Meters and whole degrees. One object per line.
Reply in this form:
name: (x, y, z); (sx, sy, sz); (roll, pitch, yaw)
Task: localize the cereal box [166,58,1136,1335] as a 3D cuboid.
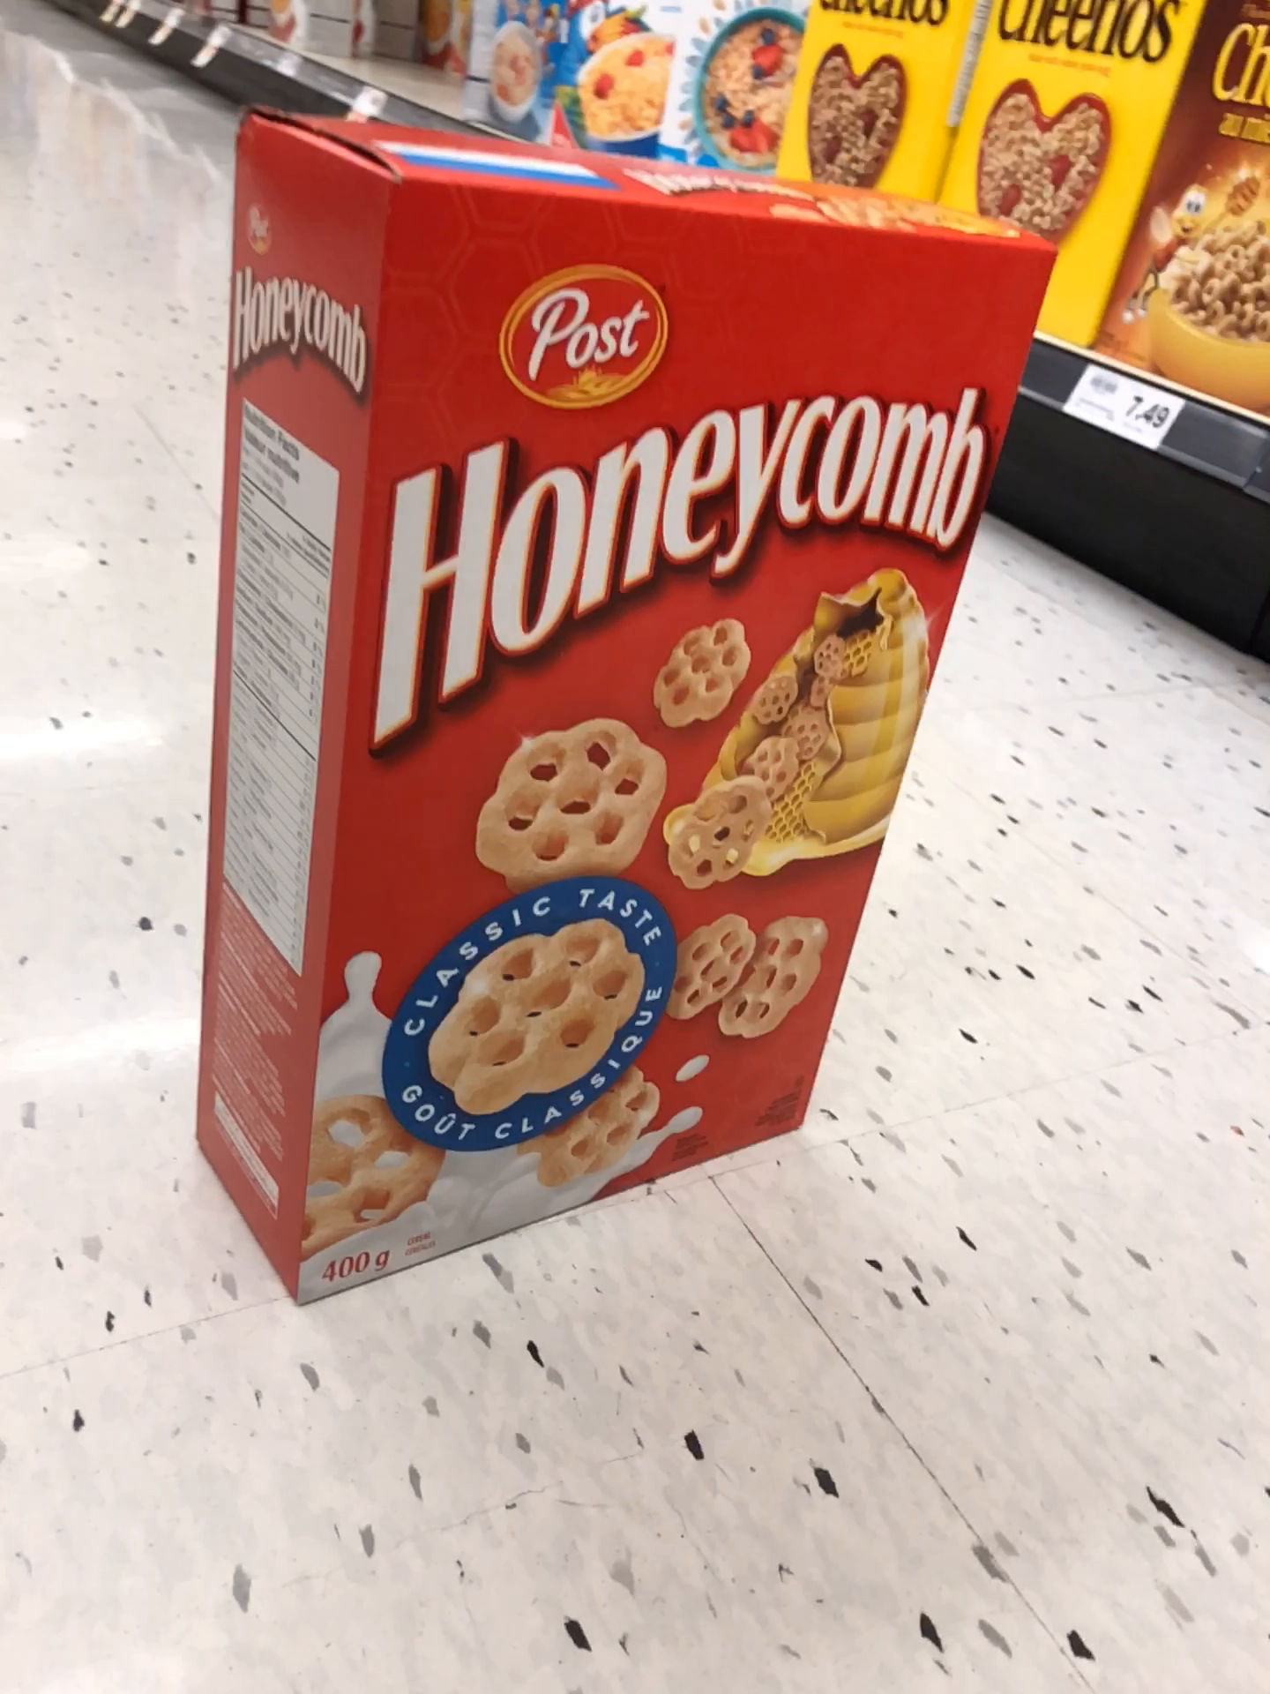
cereal box: (-0.011, -0.033, 0.398); (0.211, 0.298, 0.090); (-11, 37, -34)
